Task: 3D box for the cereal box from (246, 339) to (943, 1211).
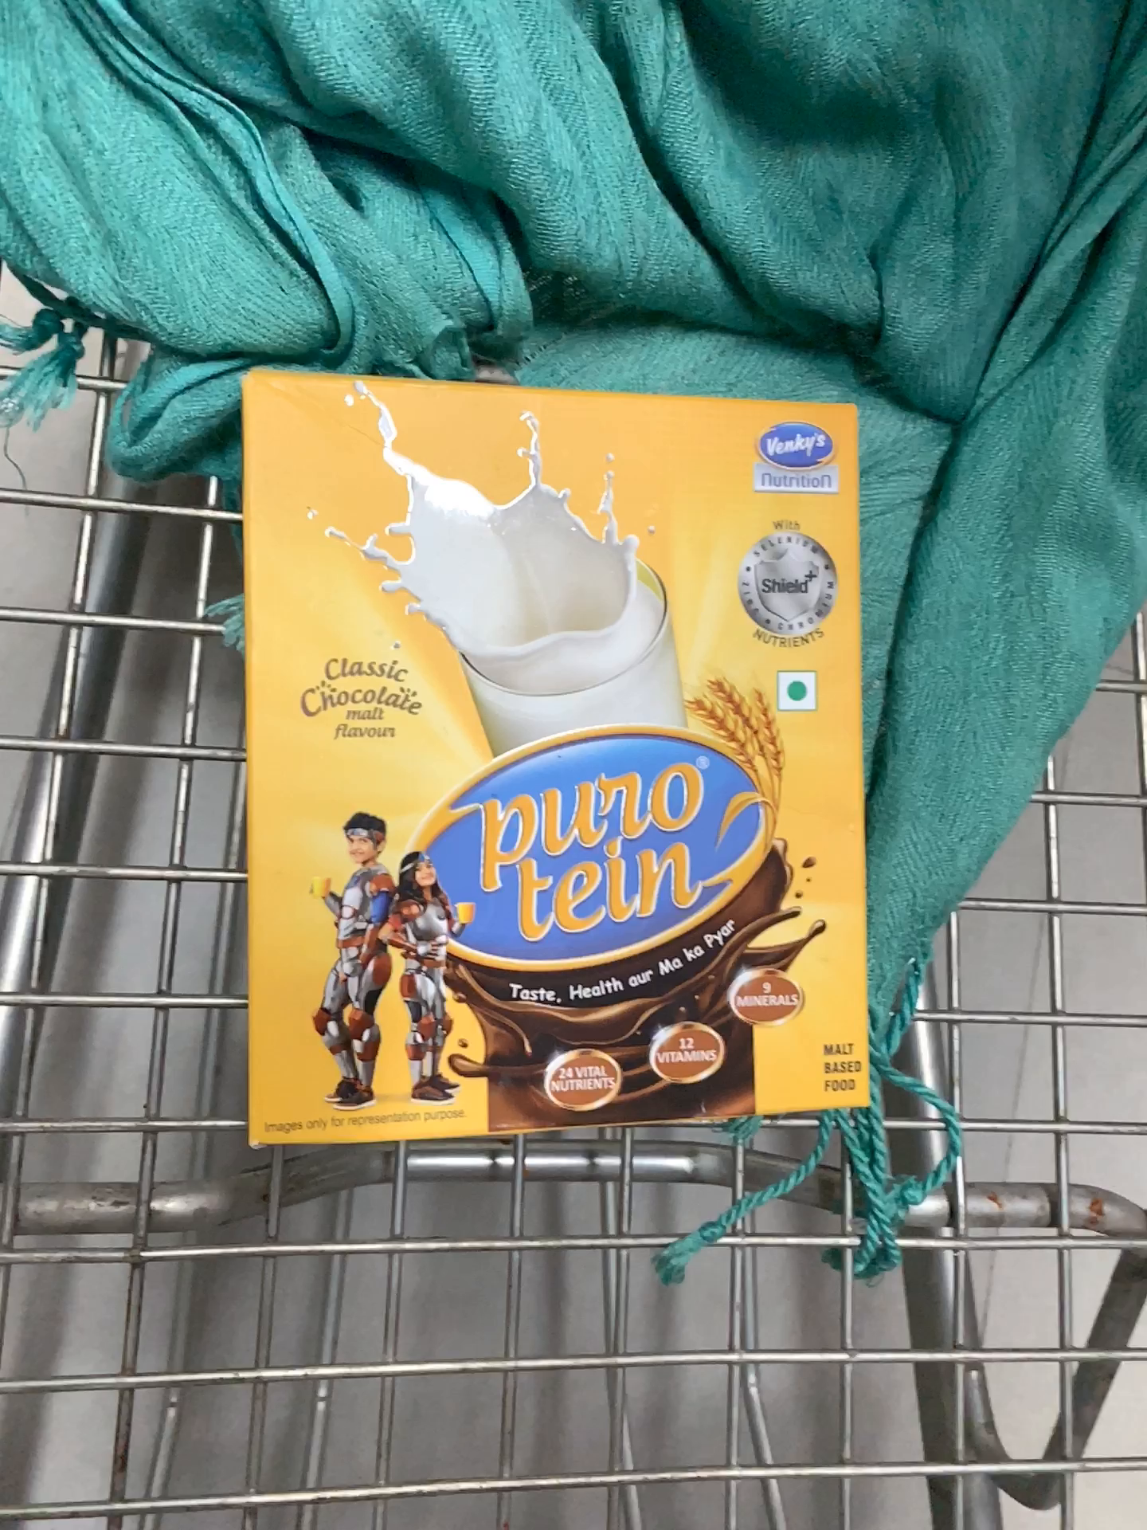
[{"bbox_3d":[0.003,0.002,0.257,0.140,0.050,0.160,0,90,-12],"label":"cereal box"}]
